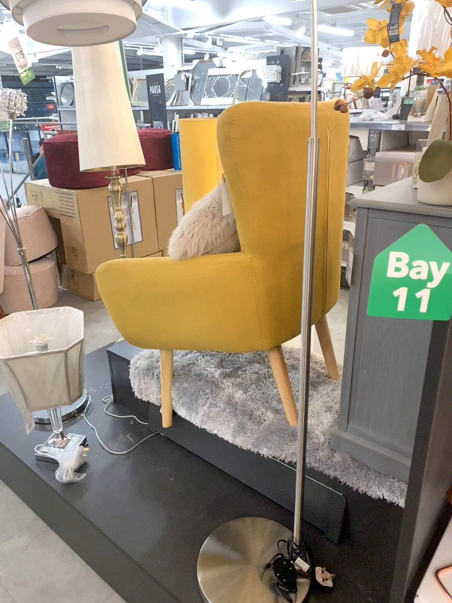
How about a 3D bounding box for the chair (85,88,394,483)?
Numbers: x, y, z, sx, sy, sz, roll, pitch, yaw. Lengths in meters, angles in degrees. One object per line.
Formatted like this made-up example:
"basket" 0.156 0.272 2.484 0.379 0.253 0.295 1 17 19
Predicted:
"chair" 0.091 -0.102 1.574 0.711 1.023 0.593 5 22 39
